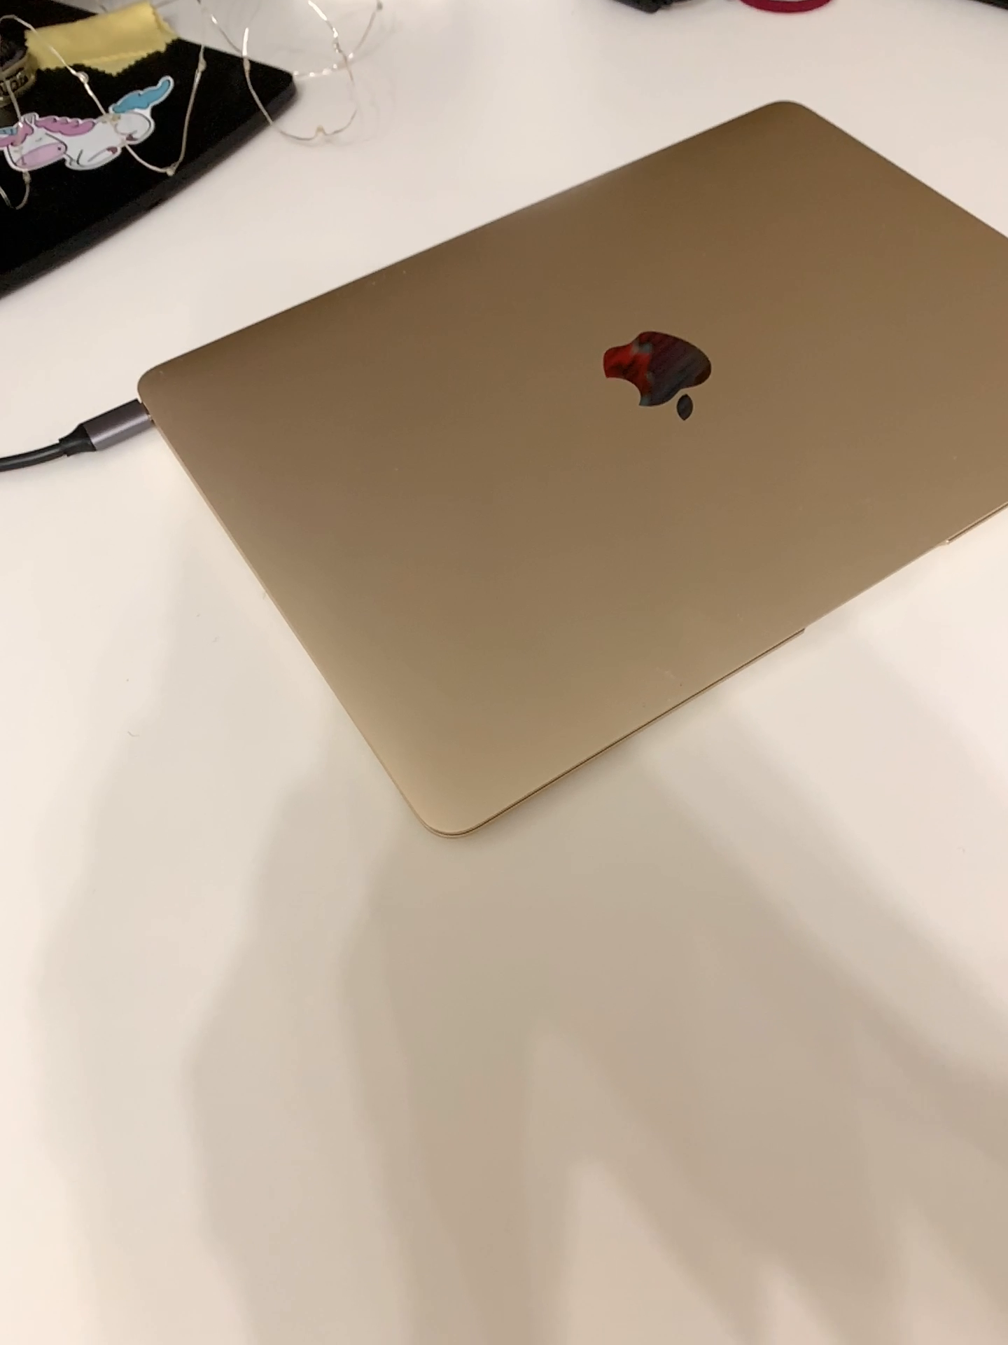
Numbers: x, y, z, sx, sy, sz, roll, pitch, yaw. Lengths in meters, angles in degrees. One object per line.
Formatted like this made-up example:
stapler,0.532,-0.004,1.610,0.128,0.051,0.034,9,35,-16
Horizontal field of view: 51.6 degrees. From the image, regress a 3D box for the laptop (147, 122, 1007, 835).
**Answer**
laptop,0.047,-0.085,0.323,0.255,0.013,0.173,-29,62,-18
